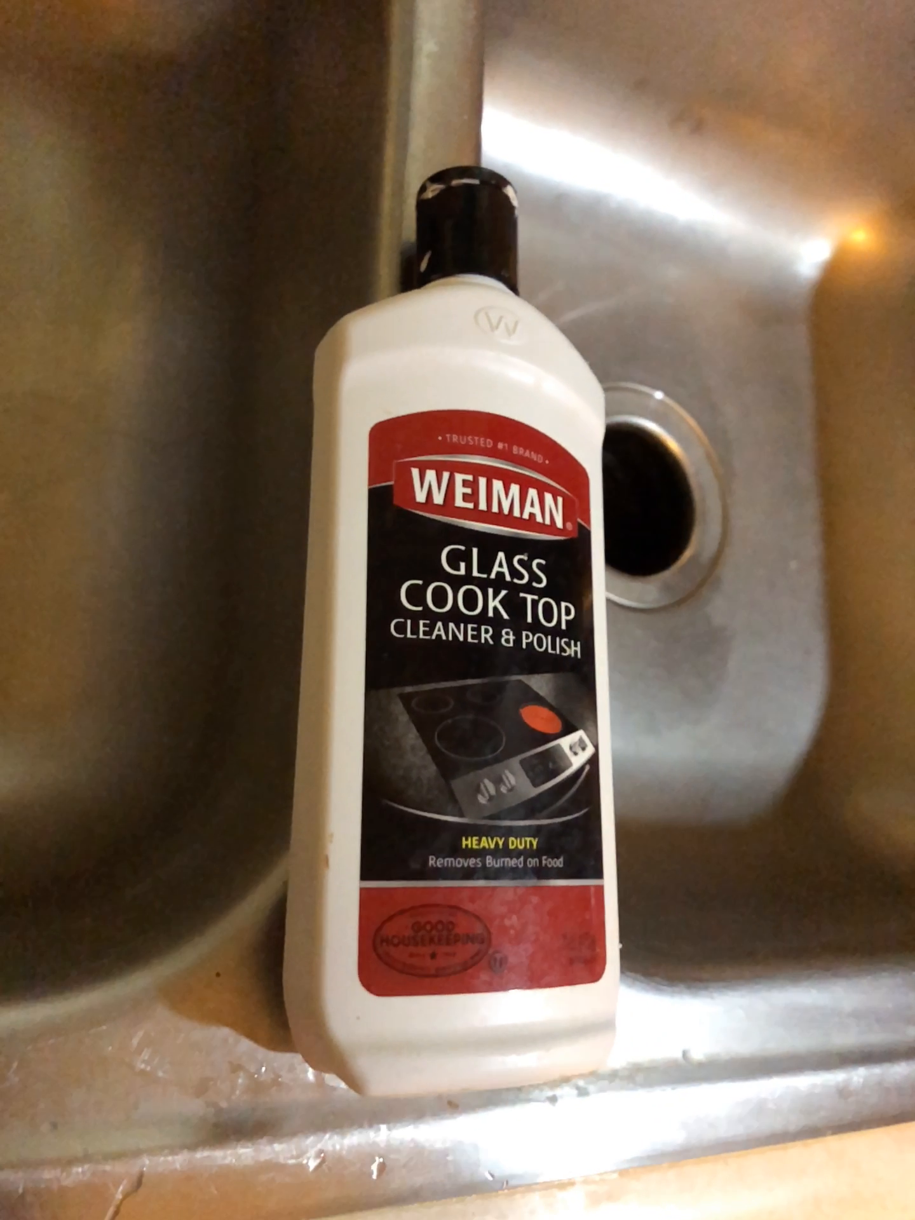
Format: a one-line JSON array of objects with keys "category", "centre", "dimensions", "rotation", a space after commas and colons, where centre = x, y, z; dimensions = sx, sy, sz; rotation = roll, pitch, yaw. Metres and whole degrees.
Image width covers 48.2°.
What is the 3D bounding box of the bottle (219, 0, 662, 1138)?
[{"category": "bottle", "centre": [-0.004, -0.017, 0.243], "dimensions": [0.080, 0.050, 0.240], "rotation": [6, 76, -27]}]
